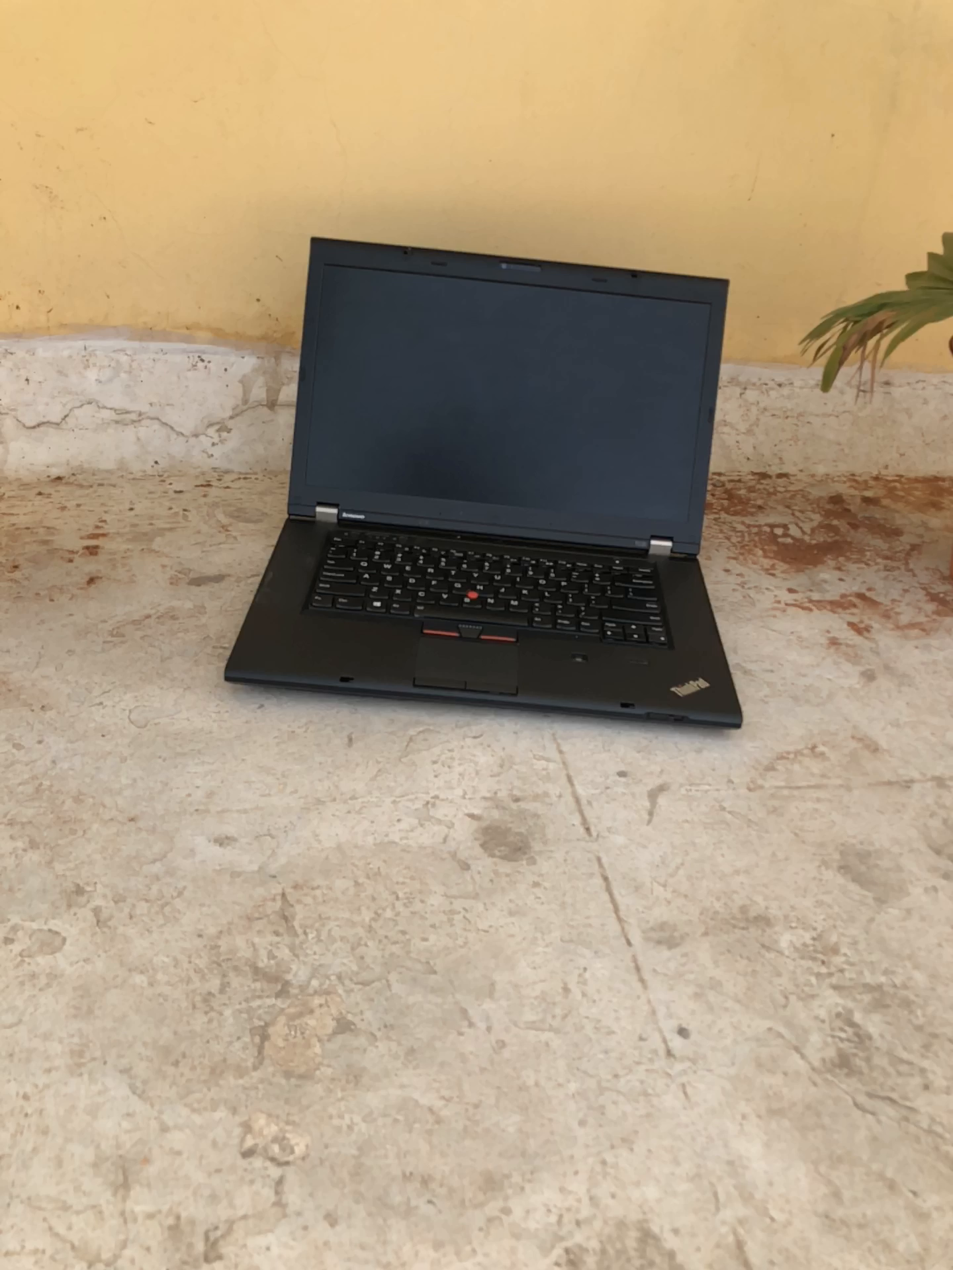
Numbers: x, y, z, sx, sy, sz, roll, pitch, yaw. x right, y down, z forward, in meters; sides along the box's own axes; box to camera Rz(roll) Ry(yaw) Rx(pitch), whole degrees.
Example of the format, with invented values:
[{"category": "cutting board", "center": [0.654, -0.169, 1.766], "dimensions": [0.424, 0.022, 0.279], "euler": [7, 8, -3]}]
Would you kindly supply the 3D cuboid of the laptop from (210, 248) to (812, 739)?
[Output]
[{"category": "laptop", "center": [0.022, -0.132, 0.820], "dimensions": [0.360, 0.208, 0.354], "euler": [5, 34, -1]}]
